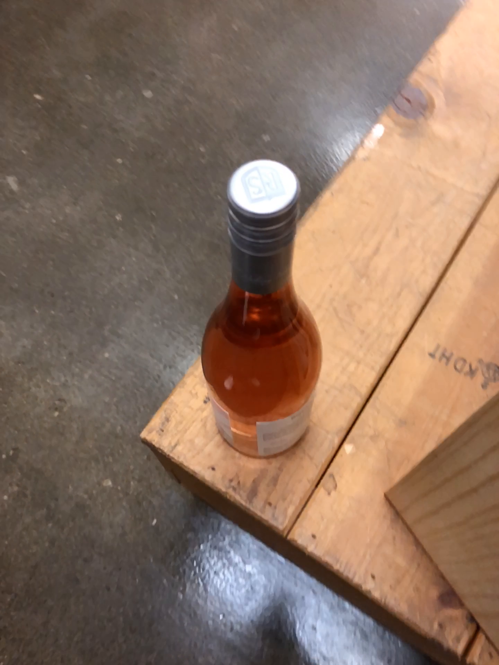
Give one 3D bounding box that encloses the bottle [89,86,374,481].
[{"bbox_3d":[0.003,0.011,0.347,0.081,0.310,0.080,-1,65,3],"label":"bottle"}]
